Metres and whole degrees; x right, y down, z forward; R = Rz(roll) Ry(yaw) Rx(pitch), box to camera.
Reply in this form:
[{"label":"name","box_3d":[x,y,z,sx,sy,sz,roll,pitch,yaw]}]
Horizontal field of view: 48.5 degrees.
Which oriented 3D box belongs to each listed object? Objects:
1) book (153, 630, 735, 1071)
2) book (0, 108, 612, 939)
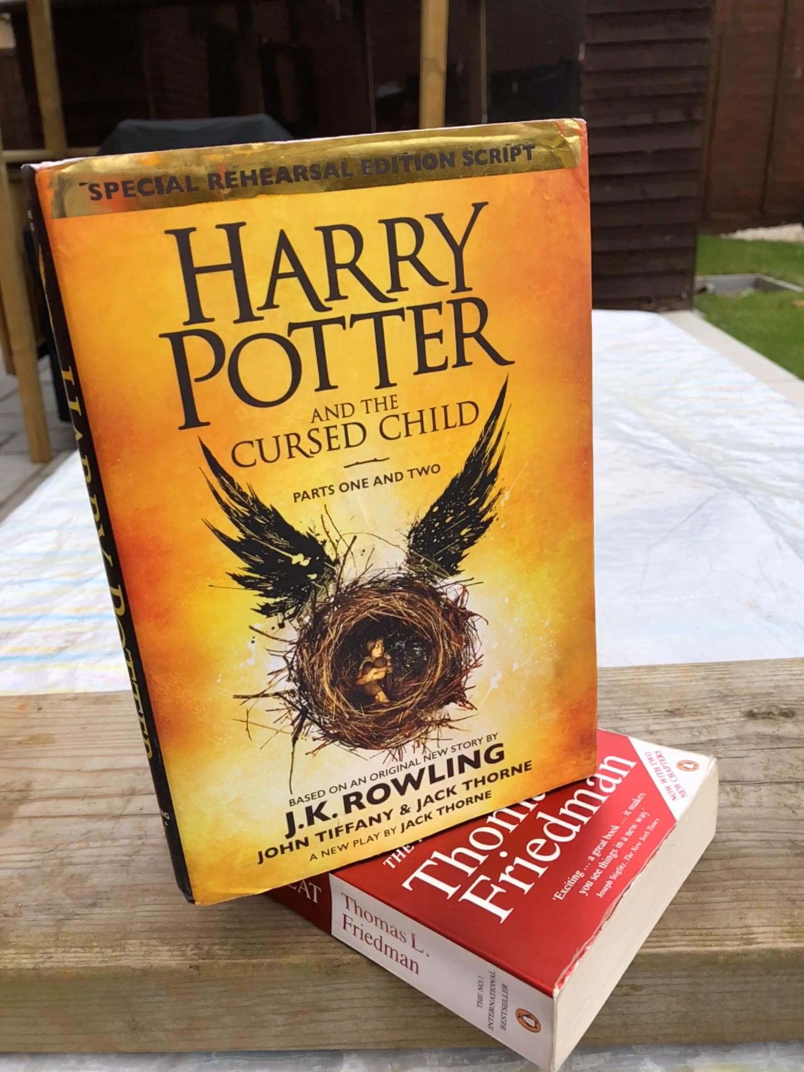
[{"label":"book","box_3d":[0.014,0.106,0.360,0.190,0.040,0.131,14,28,38]},{"label":"book","box_3d":[-0.016,-0.004,0.294,0.170,0.239,0.040,-10,19,-17]}]
